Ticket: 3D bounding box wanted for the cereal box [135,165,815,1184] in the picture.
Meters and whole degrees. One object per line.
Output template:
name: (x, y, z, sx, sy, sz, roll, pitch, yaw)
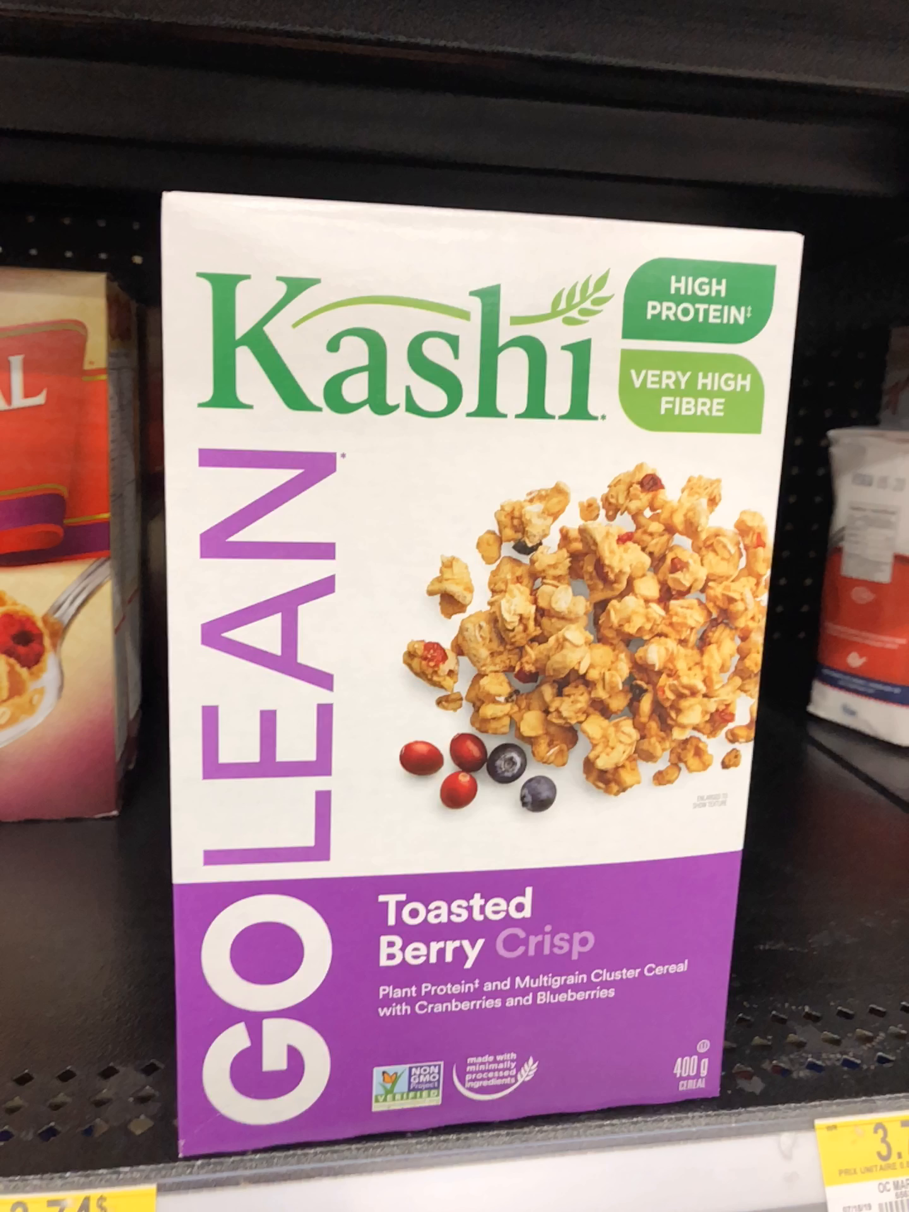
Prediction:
cereal box: (0.000, 0.025, 0.298, 0.170, 0.269, 0.050, 0, 12, -12)
